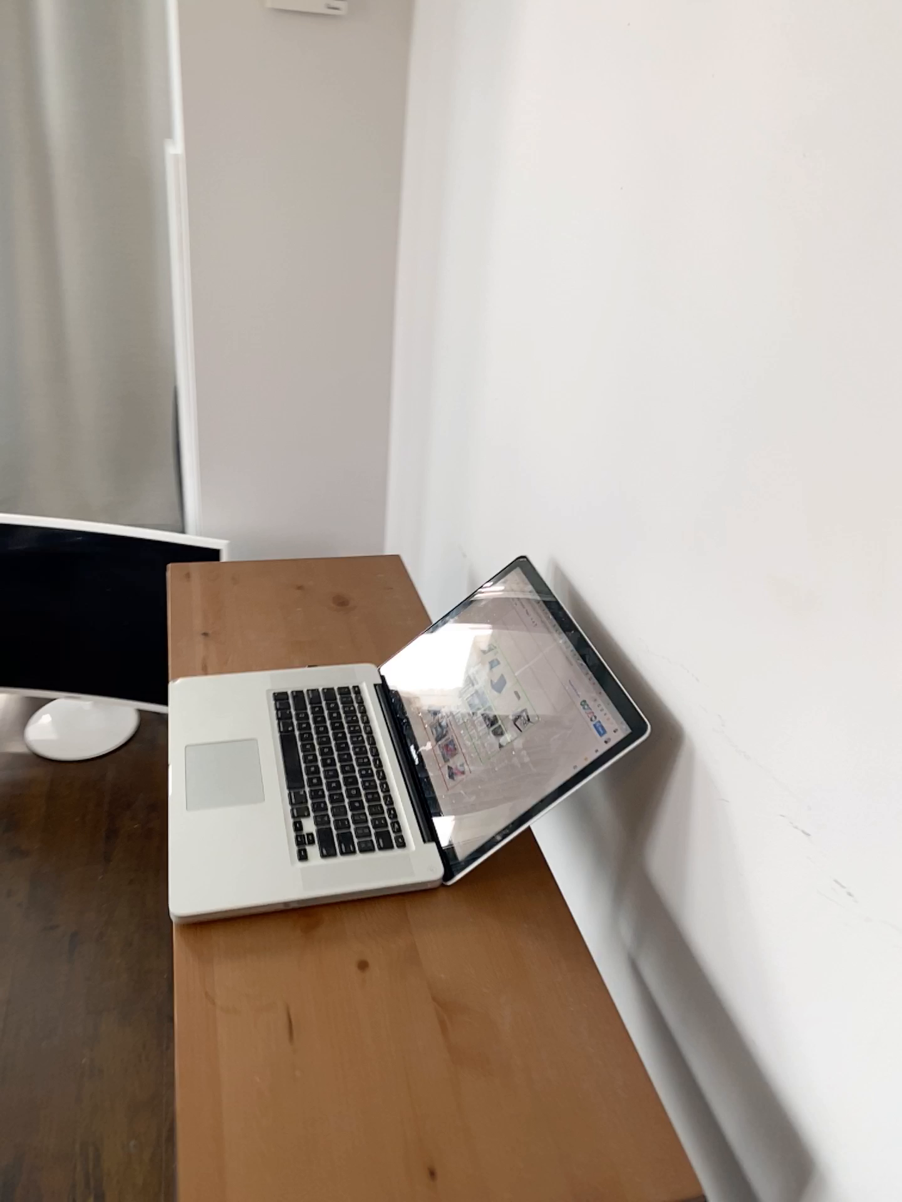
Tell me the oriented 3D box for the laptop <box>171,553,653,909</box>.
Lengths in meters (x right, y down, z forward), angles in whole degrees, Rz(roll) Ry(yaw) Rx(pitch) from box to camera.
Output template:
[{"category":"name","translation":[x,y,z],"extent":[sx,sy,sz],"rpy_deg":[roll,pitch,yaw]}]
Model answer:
[{"category":"laptop","translation":[-0.072,0.109,1.005],"extent":[0.438,0.151,0.370],"rpy_deg":[-3,30,-15]}]
